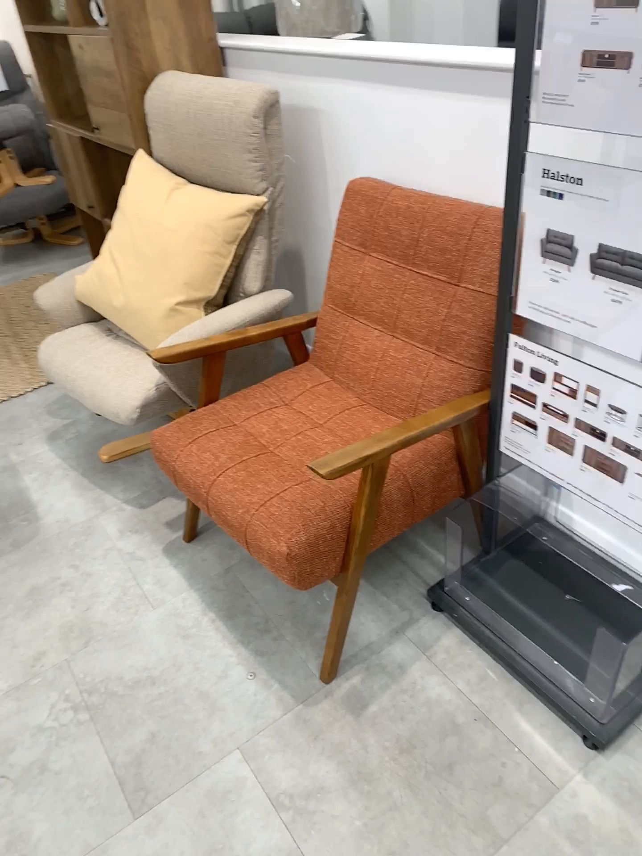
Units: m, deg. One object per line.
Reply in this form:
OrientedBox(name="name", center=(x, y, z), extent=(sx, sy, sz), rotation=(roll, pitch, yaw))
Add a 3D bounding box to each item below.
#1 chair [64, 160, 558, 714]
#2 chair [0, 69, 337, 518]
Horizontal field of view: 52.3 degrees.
OrientedBox(name="chair", center=(0.001, -0.041, 1.538), extent=(0.701, 0.884, 0.692), rotation=(-29, 41, -29))
OrientedBox(name="chair", center=(-0.475, -0.440, 1.954), extent=(0.700, 1.013, 0.682), rotation=(23, 44, 35))
